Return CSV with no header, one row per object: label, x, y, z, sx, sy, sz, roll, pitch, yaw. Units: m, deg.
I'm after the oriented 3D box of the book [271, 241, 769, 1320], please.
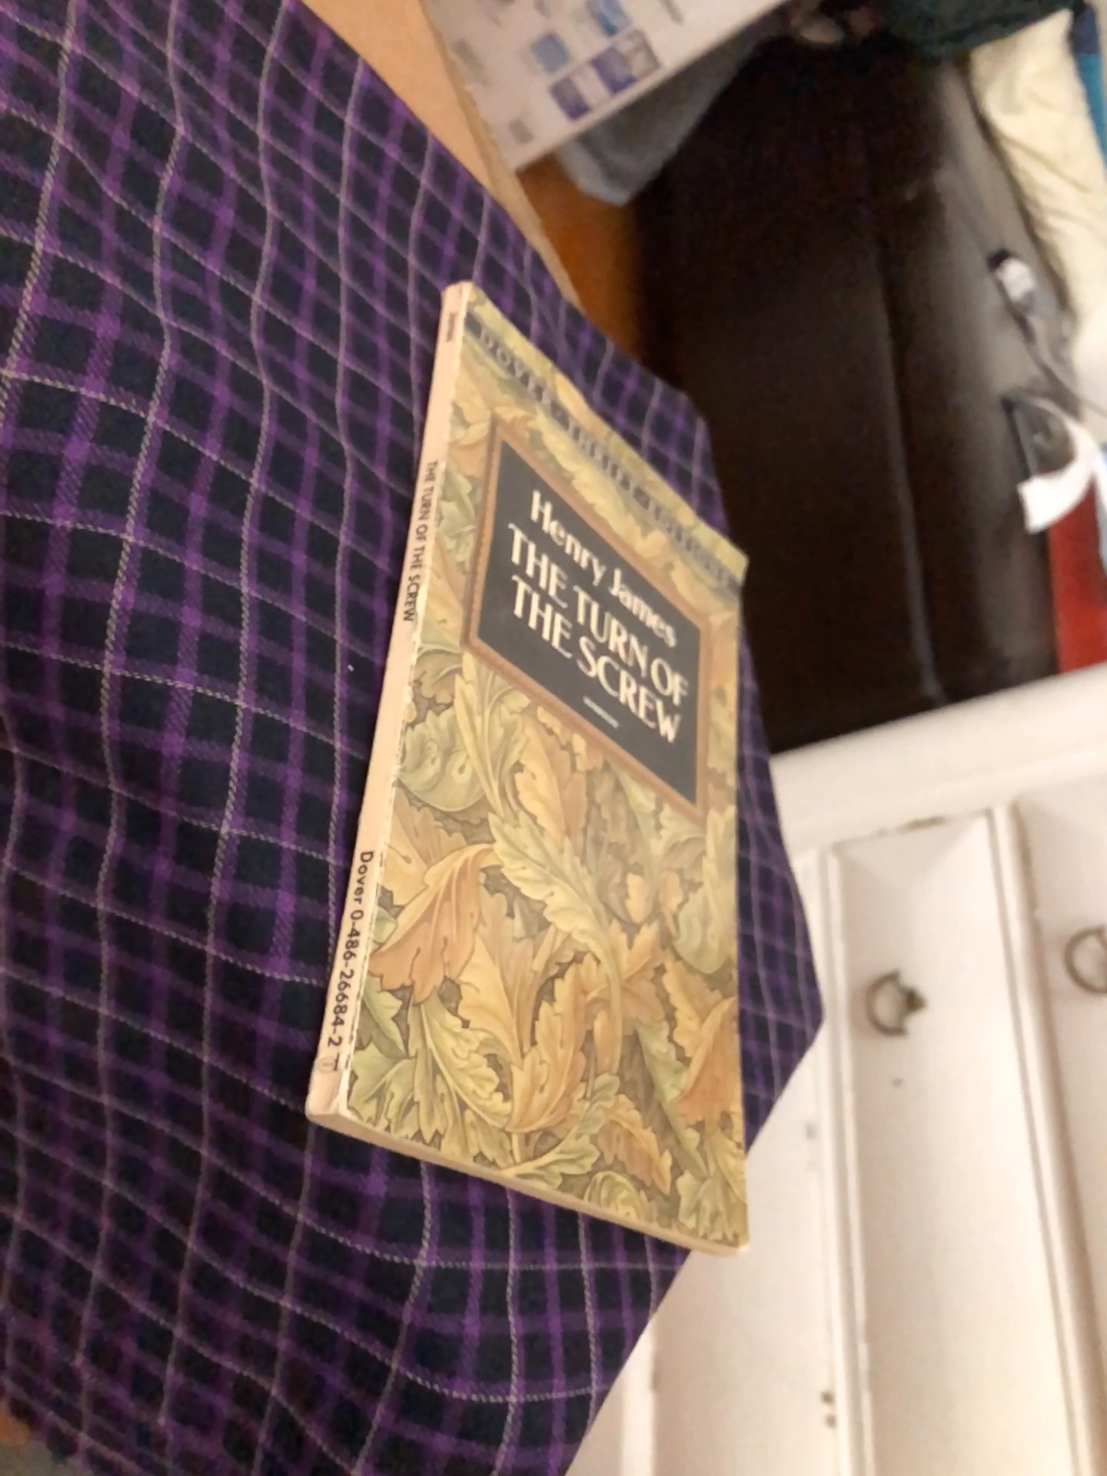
book,0.008,0.007,0.291,0.141,0.010,0.221,36,46,-42
